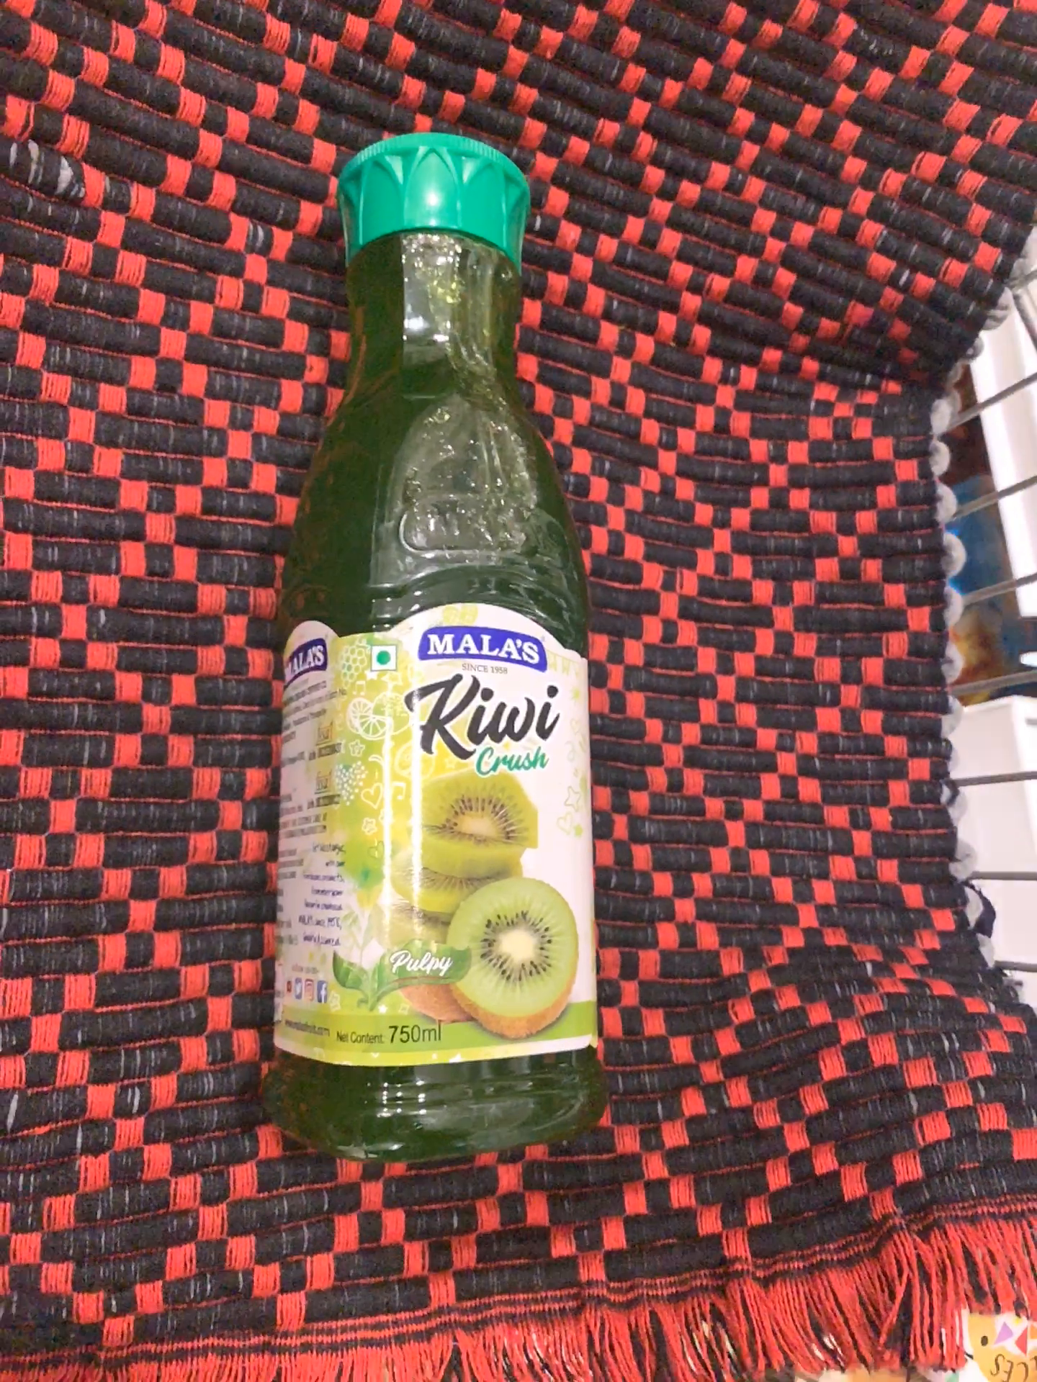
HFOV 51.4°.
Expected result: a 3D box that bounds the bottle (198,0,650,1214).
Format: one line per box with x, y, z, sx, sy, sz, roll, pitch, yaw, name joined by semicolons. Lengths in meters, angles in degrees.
-0.028;-0.027;0.261;0.070;0.080;0.260;6;75;-29;bottle
